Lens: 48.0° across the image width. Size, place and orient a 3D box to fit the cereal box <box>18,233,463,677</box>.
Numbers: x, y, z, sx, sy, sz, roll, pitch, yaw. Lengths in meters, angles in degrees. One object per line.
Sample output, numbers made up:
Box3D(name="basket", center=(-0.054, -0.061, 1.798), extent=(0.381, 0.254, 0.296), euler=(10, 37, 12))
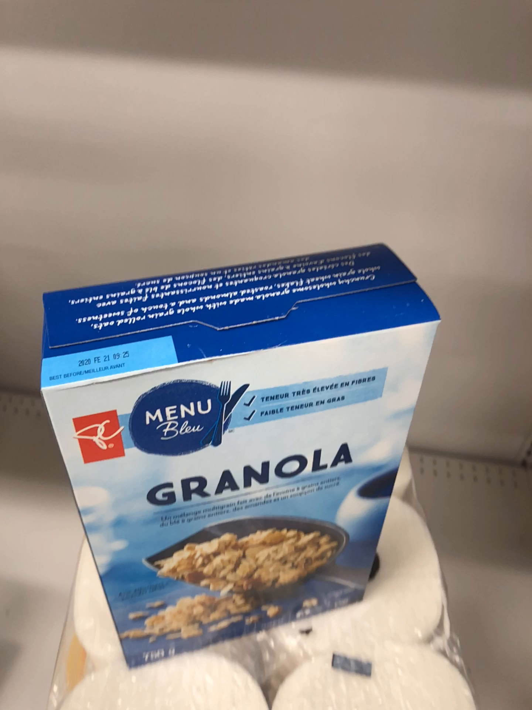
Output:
Box3D(name="cereal box", center=(-0.012, 0.067, 0.310), extent=(0.160, 0.239, 0.060), euler=(-9, 42, -11))
